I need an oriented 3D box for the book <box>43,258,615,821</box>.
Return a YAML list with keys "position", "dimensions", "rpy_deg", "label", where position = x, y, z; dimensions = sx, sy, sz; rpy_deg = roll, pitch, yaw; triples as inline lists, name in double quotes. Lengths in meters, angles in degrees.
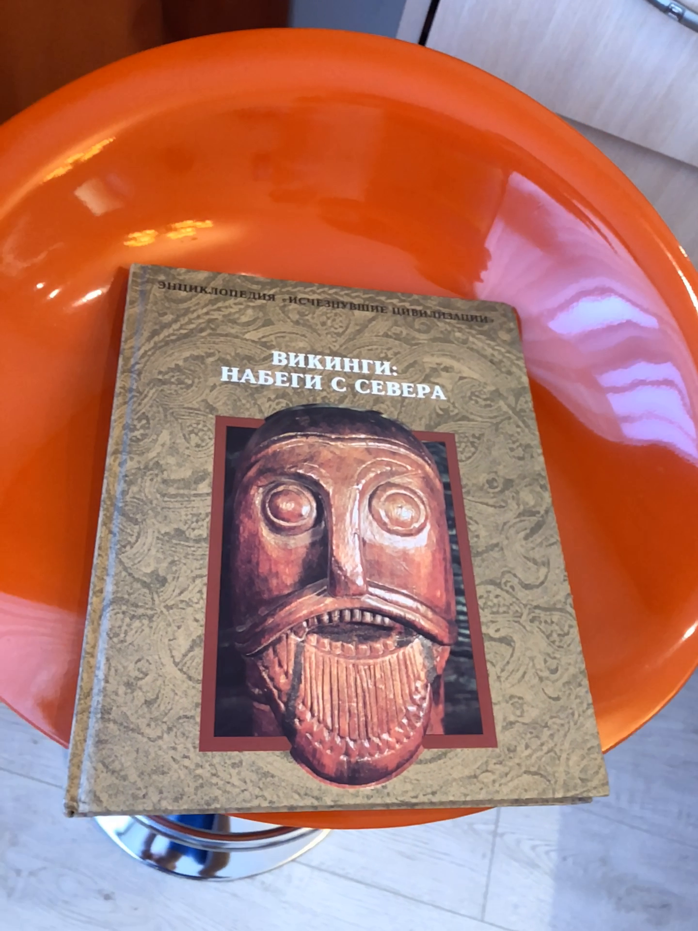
- position: [-0.006, 0.020, 0.361]
  dimensions: [0.216, 0.022, 0.261]
  rpy_deg: [4, 59, -11]
  label: "book"
